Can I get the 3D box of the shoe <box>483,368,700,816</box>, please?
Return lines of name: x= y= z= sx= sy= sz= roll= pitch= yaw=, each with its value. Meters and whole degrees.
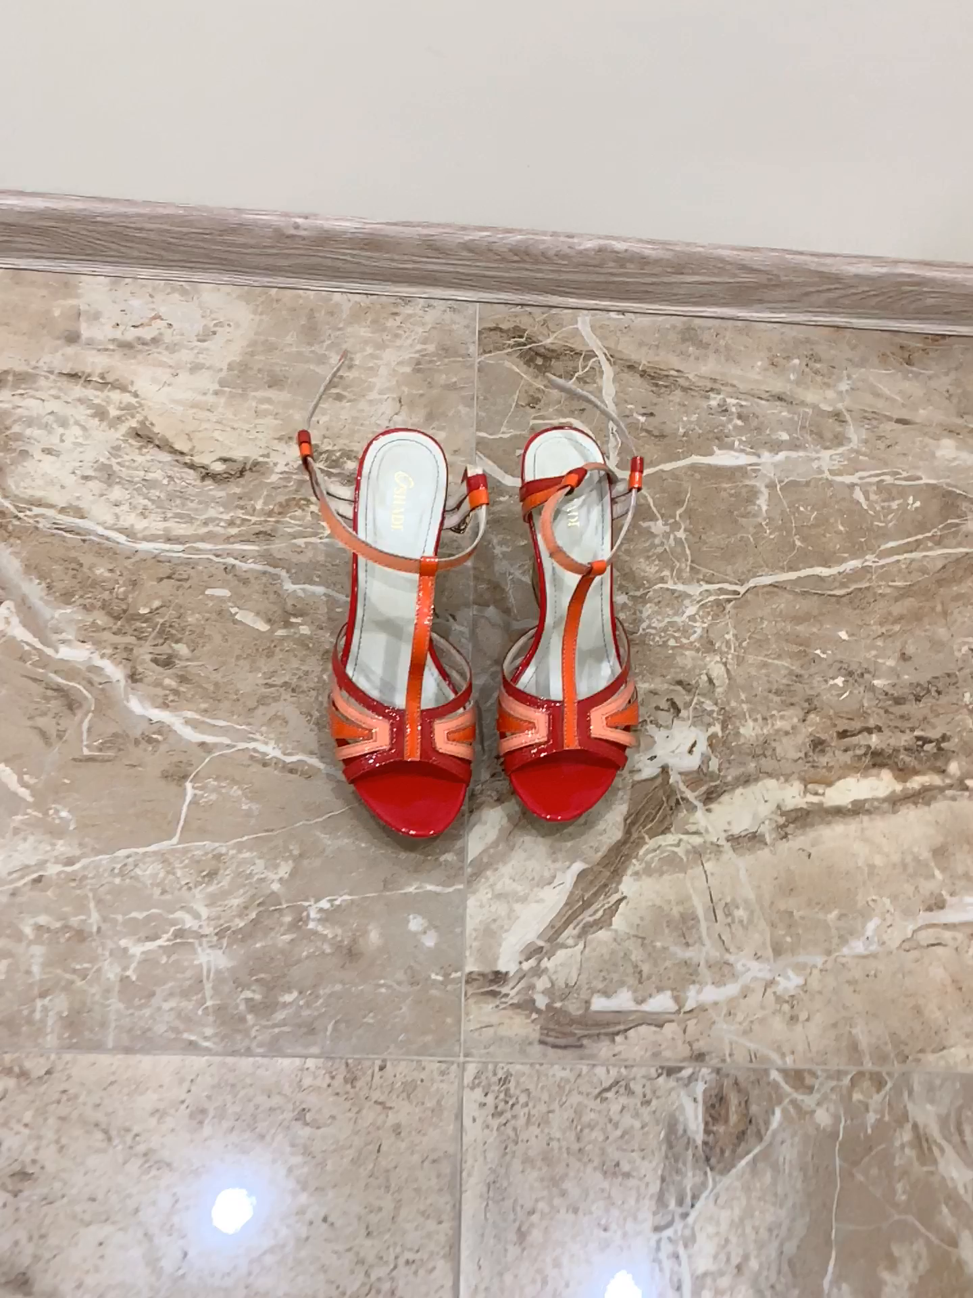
shoe: x=0.048 y=-0.032 z=0.566 sx=0.080 sy=0.130 sz=0.218 roll=0 pitch=59 yaw=-6

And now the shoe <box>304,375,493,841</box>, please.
shoe: x=-0.049 y=-0.022 z=0.556 sx=0.083 sy=0.140 sz=0.218 roll=0 pitch=59 yaw=-6
